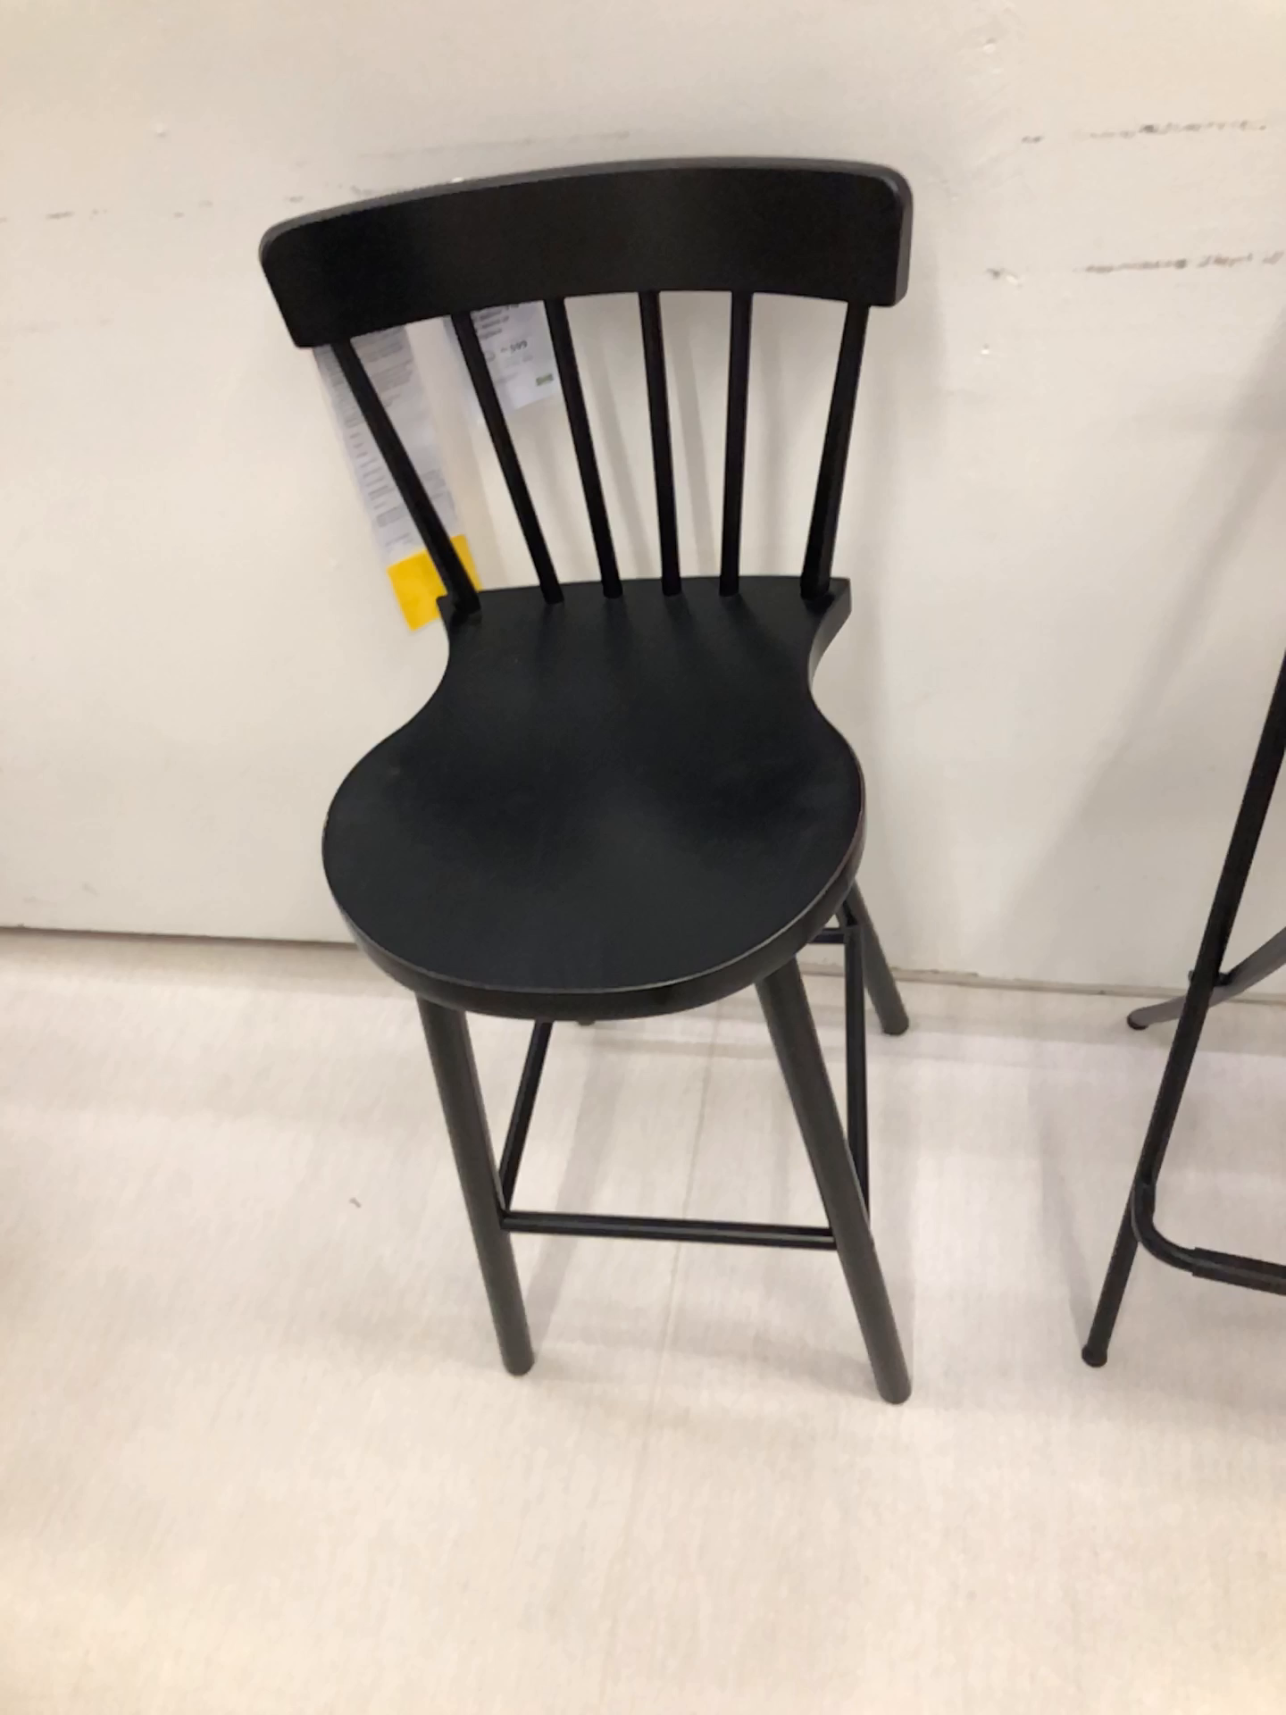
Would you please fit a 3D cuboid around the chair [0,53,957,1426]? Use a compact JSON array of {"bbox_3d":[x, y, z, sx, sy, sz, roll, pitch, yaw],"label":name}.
[{"bbox_3d":[-0.013,0.002,1.040,0.460,0.875,0.483,-1,49,11],"label":"chair"}]
